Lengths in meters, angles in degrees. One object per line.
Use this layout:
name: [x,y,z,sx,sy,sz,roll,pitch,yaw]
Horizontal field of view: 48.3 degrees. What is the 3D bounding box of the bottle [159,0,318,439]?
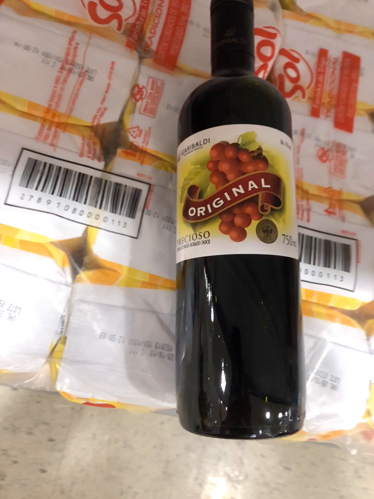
bottle: [0.032,-0.054,0.281,0.080,0.070,0.320,-2,76,10]
